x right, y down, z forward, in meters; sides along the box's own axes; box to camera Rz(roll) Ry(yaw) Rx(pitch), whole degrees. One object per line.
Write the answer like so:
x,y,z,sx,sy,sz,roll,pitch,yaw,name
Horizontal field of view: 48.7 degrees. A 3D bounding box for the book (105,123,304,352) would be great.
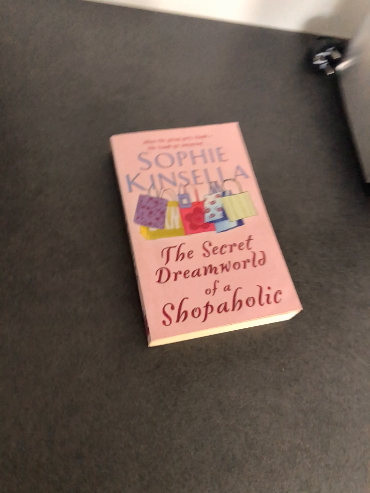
0.009,-0.020,0.372,0.130,0.030,0.200,-9,66,-15,book
